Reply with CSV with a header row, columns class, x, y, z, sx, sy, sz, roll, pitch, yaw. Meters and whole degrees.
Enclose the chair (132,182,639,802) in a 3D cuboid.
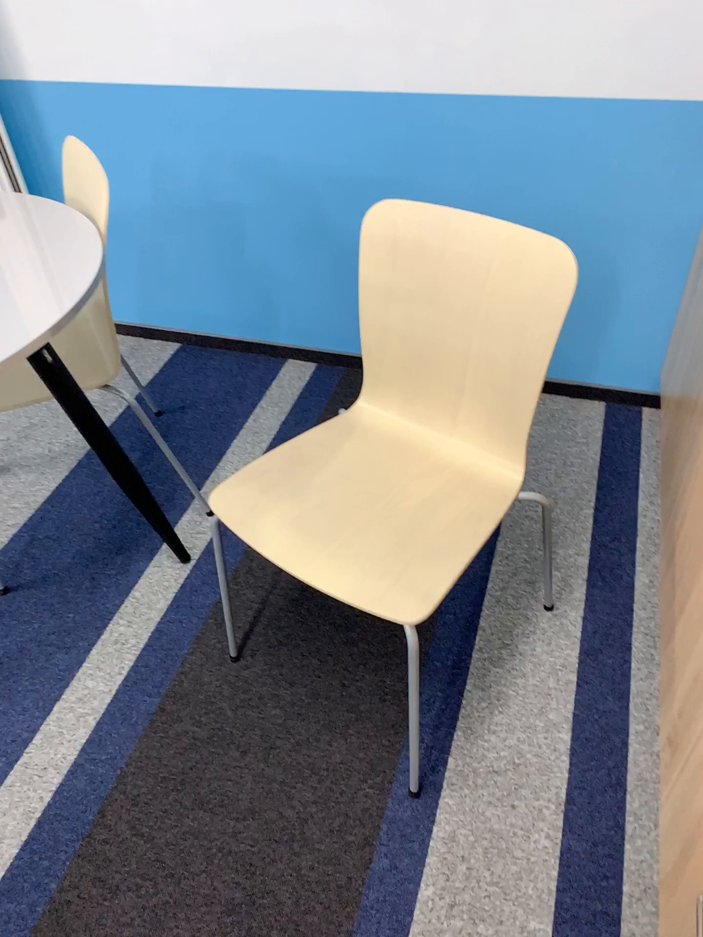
class,x,y,z,sx,sy,sz,roll,pitch,yaw
chair,0.087,0.037,1.294,0.477,0.836,0.572,26,49,31
